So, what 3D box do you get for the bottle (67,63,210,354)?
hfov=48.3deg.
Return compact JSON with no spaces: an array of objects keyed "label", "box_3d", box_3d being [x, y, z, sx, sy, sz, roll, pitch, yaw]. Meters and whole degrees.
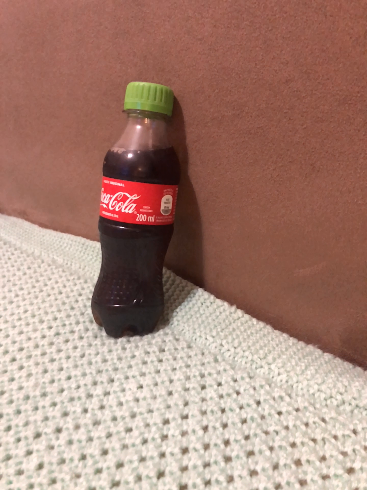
[{"label":"bottle","box_3d":[-0.032,-0.025,0.276,0.060,0.169,0.060,5,13,-1]}]
